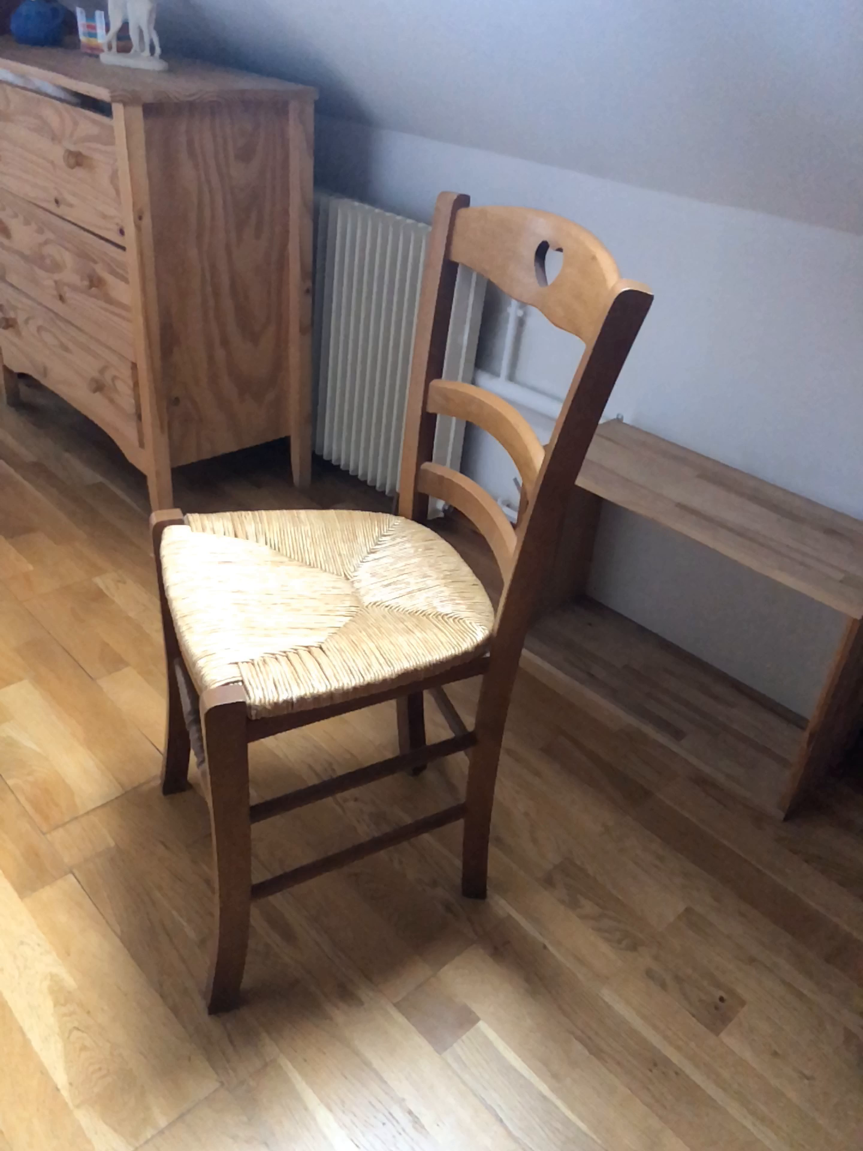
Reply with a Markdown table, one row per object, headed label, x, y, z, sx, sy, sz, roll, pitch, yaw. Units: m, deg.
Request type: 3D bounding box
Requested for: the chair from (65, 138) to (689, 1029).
| label | x | y | z | sx | sy | sz | roll | pitch | yaw |
| --- | --- | --- | --- | --- | --- | --- | --- | --- | --- |
| chair | -0.121 | -0.005 | 1.046 | 0.434 | 0.792 | 0.460 | -7 | 34 | -22 |
